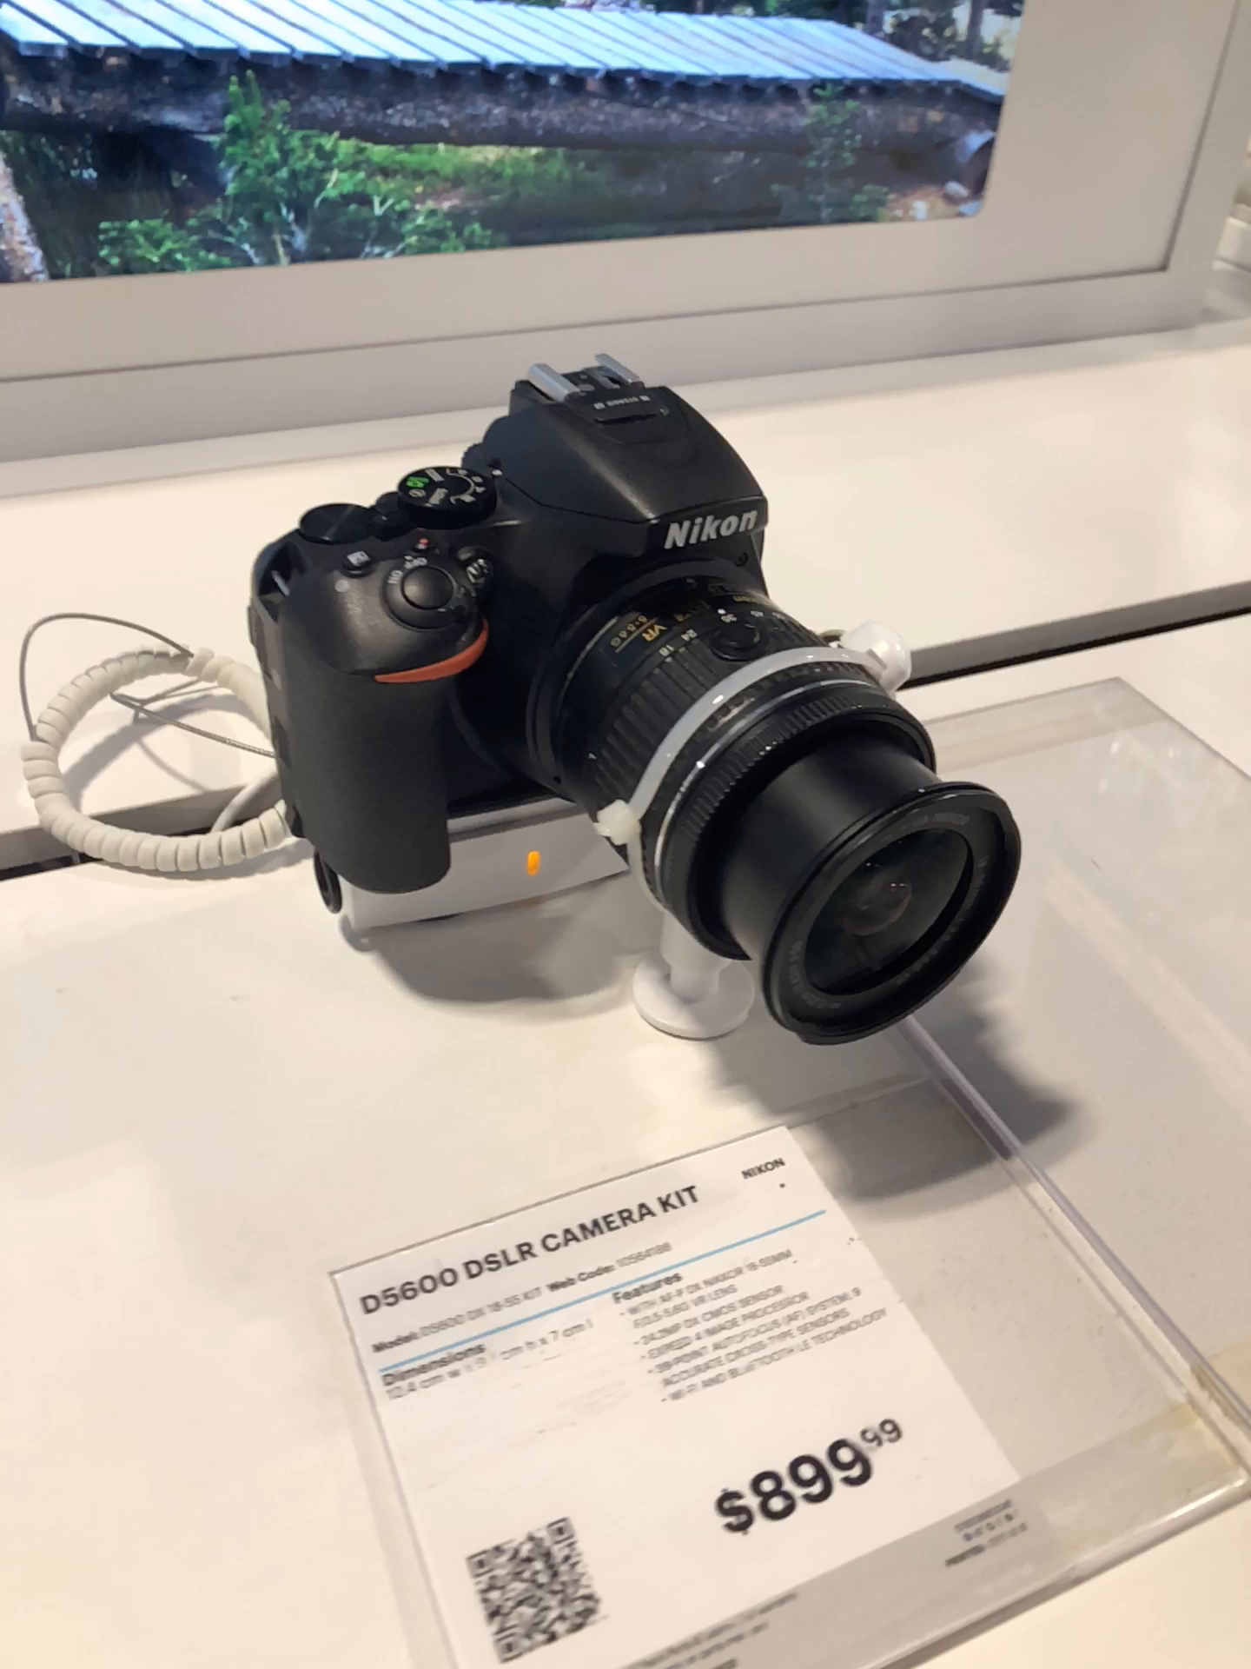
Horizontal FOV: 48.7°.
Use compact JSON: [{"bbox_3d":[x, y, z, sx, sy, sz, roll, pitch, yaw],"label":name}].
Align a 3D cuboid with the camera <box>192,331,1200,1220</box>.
[{"bbox_3d":[0.004,-0.027,0.281,0.130,0.089,0.141,-18,42,-25],"label":"camera"}]
